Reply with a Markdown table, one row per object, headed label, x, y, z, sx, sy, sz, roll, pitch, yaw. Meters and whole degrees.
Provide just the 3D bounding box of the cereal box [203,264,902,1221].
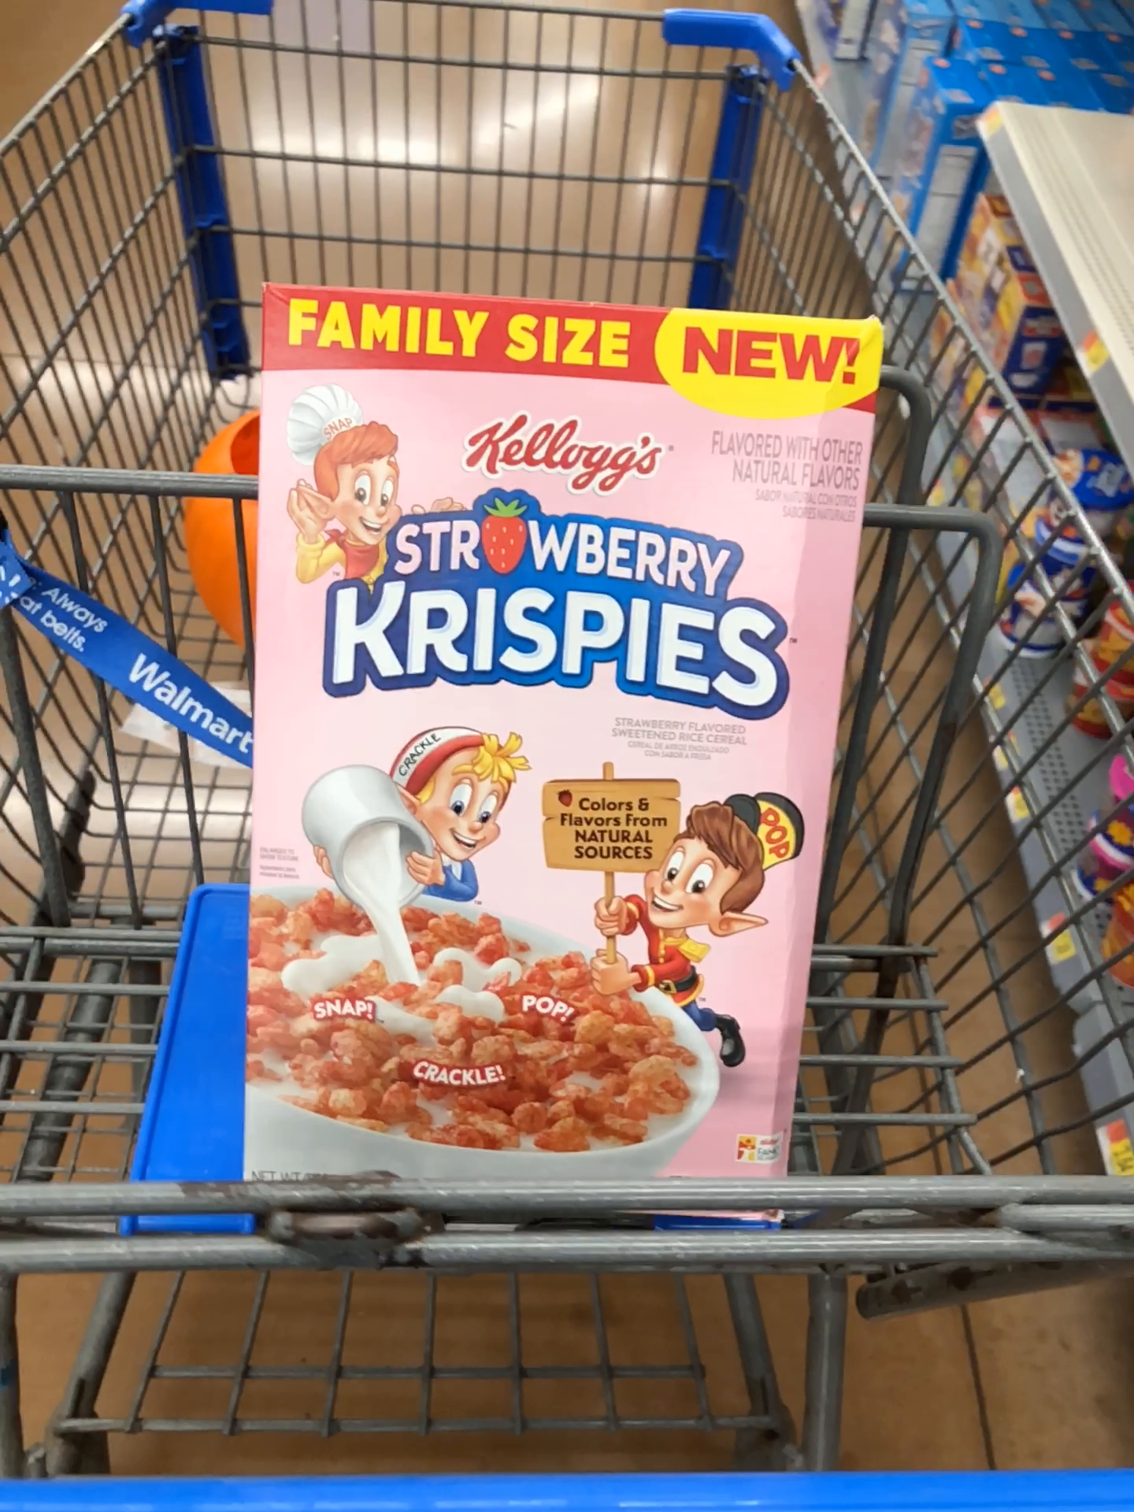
| label | x | y | z | sx | sy | sz | roll | pitch | yaw |
| --- | --- | --- | --- | --- | --- | --- | --- | --- | --- |
| cereal box | -0.011 | 0.000 | 0.431 | 0.200 | 0.290 | 0.080 | 3 | 8 | -4 |
